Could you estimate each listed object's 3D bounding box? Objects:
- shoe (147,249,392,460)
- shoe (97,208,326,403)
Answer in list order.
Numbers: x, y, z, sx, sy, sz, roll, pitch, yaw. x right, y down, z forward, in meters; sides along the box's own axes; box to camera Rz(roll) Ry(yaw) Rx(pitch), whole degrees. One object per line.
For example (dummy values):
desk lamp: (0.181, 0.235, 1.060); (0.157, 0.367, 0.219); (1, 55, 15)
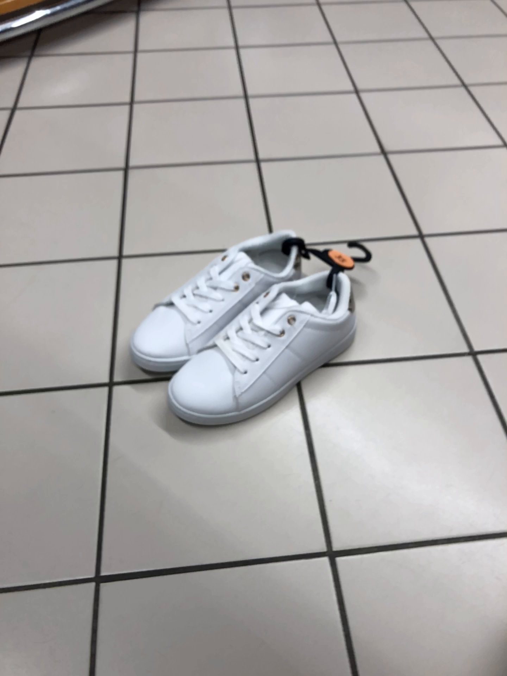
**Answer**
shoe: (0.021, 0.010, 0.590); (0.241, 0.080, 0.090); (-30, 57, -23)
shoe: (-0.039, -0.044, 0.632); (0.241, 0.080, 0.090); (-34, 58, -25)
